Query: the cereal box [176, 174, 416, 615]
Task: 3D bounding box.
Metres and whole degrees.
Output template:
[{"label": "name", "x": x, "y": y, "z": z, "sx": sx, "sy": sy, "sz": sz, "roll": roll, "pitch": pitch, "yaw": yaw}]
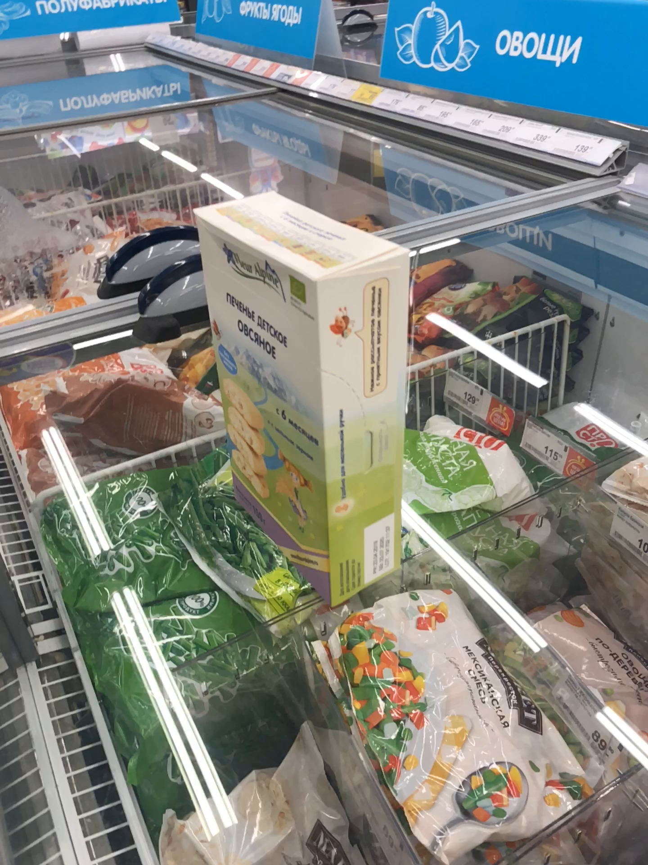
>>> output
[{"label": "cereal box", "x": -0.013, "y": -0.019, "z": 0.368, "sx": 0.050, "sy": 0.189, "sz": 0.121, "roll": -23, "pitch": 39, "yaw": -26}]
